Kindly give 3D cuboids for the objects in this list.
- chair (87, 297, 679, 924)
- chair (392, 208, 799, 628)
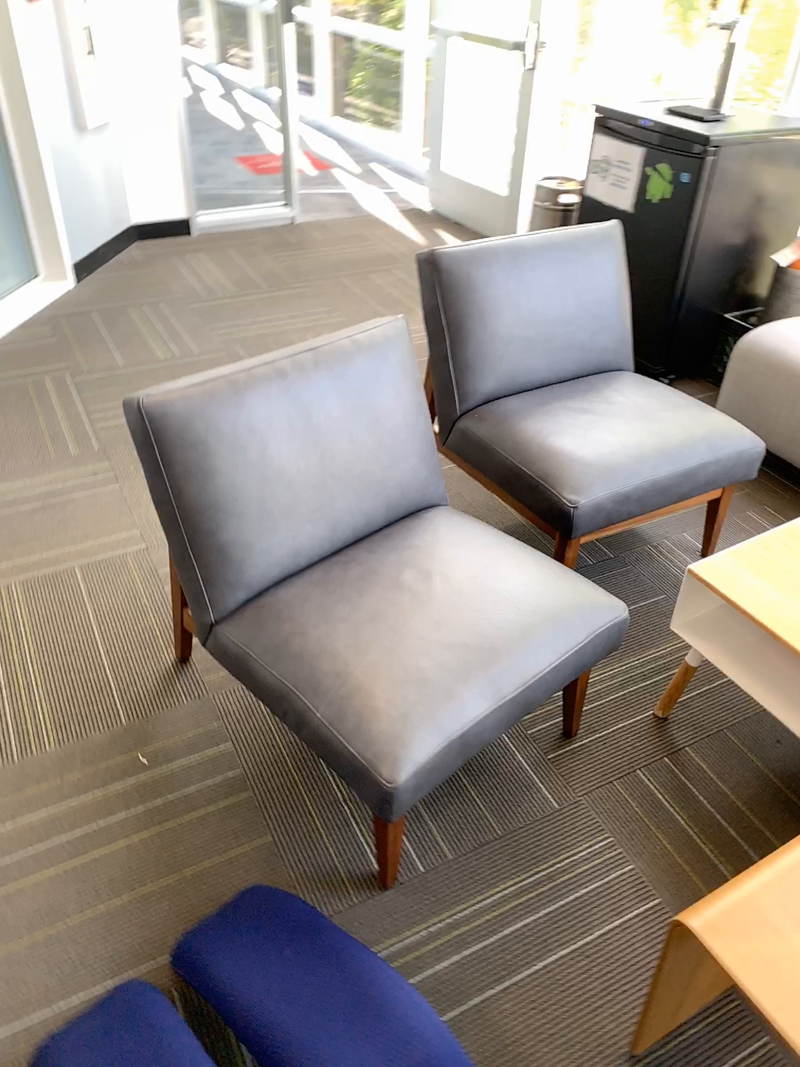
[{"bbox_3d":[-0.067,0.080,1.700,0.681,0.766,0.854,-27,45,-33],"label":"chair"},{"bbox_3d":[0.523,-0.390,2.357,0.740,0.766,0.855,-19,41,-26],"label":"chair"}]
